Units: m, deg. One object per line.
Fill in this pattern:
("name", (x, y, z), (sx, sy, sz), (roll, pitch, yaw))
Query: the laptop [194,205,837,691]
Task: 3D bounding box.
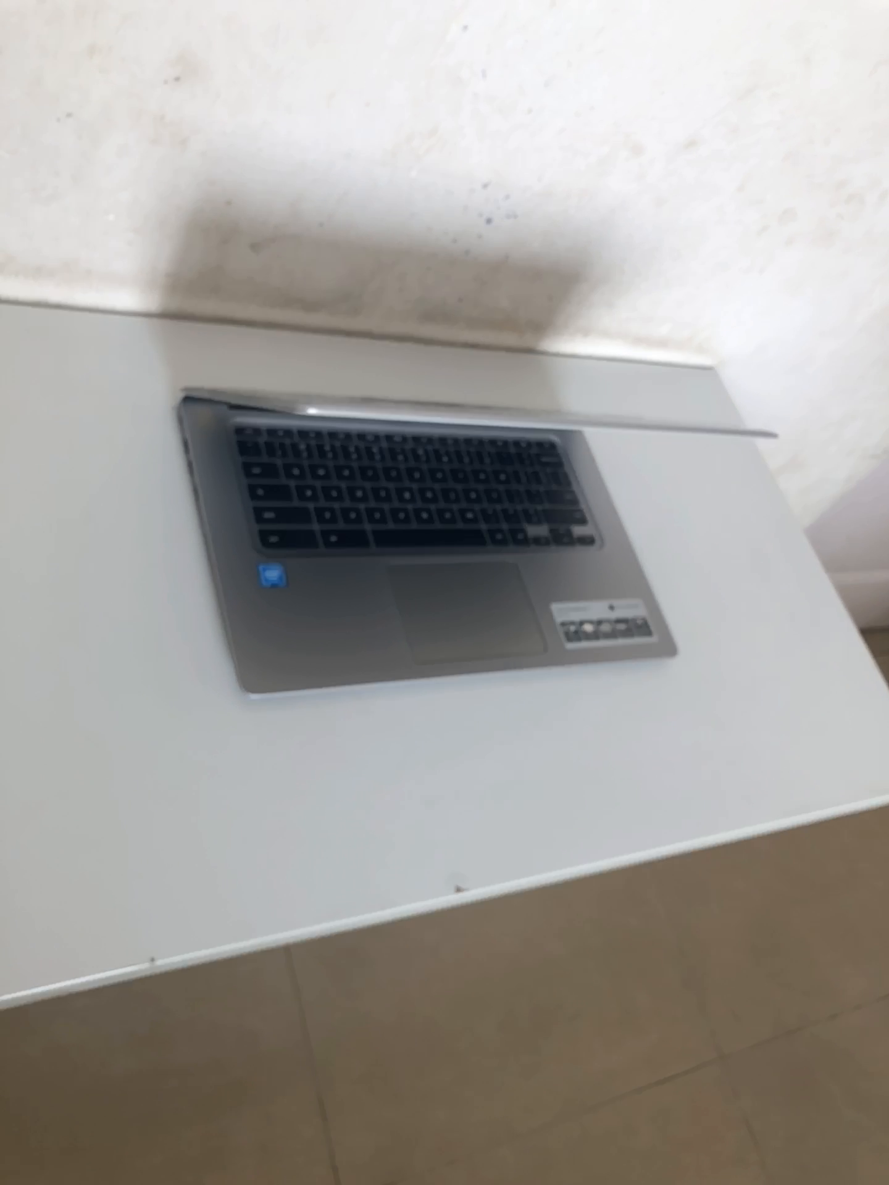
("laptop", (0.037, -0.085, 0.636), (0.327, 0.155, 0.222), (-3, 59, -29))
